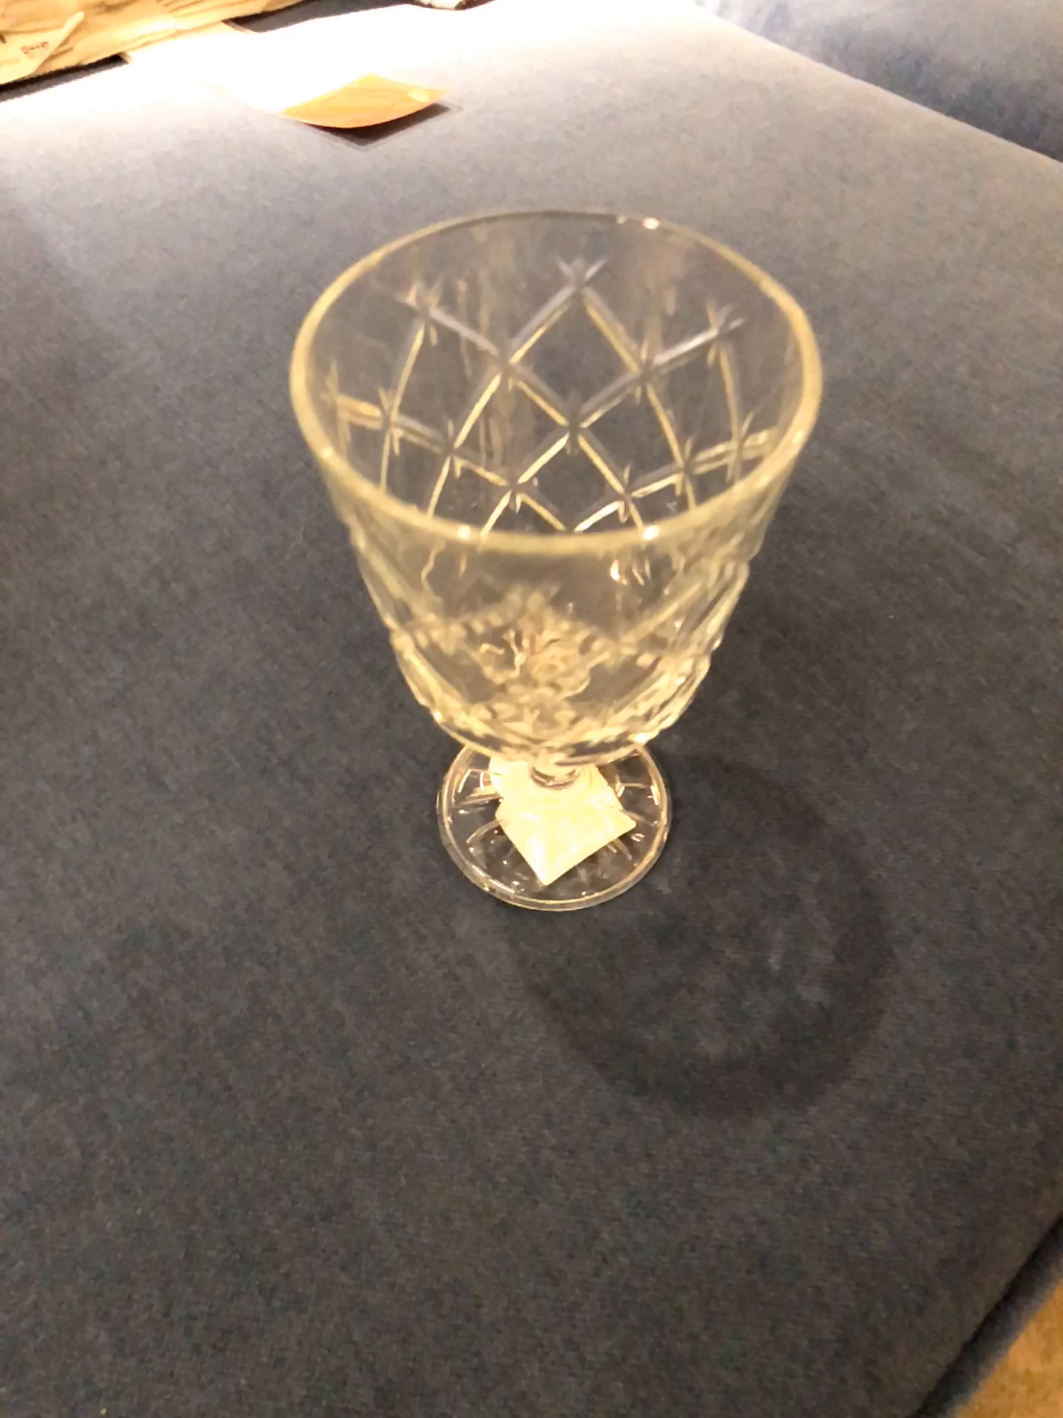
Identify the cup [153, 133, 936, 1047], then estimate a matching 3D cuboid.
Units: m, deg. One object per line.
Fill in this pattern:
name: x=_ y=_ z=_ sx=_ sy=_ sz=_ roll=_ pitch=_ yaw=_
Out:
cup: x=0.005 y=-0.017 z=0.241 sx=0.090 sy=0.140 sz=0.090 roll=0 pitch=53 yaw=0
